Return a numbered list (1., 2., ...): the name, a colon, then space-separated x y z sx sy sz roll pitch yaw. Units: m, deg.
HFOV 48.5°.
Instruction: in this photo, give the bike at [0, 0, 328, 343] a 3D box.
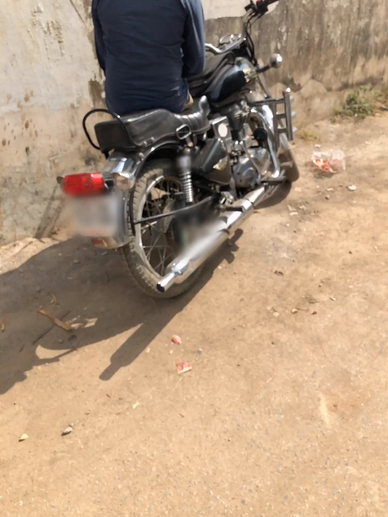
1. bike: 0.024 -0.840 2.435 0.880 1.317 1.945 14 38 23
